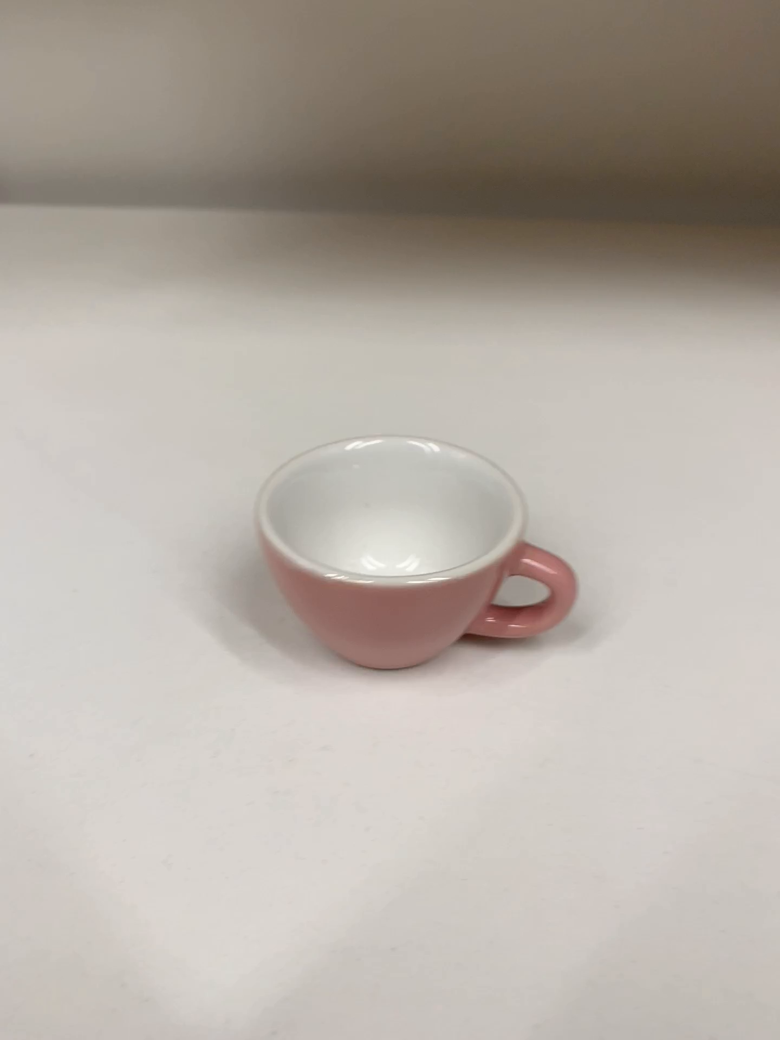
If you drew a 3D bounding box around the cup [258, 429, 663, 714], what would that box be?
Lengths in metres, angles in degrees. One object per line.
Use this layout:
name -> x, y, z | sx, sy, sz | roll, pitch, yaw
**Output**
cup -> 0.013, 0.009, 0.170 | 0.070, 0.040, 0.040 | 2, 34, 2
